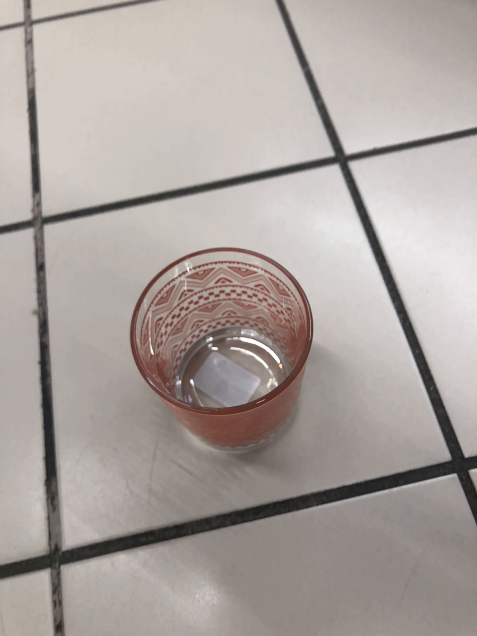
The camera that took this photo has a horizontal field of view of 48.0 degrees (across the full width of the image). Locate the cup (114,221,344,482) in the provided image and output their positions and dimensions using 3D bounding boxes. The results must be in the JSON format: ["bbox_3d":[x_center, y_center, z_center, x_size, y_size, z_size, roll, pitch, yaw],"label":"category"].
[{"bbox_3d":[-0.005,0.019,0.246,0.078,0.078,0.084,-2,64,3],"label":"cup"}]
